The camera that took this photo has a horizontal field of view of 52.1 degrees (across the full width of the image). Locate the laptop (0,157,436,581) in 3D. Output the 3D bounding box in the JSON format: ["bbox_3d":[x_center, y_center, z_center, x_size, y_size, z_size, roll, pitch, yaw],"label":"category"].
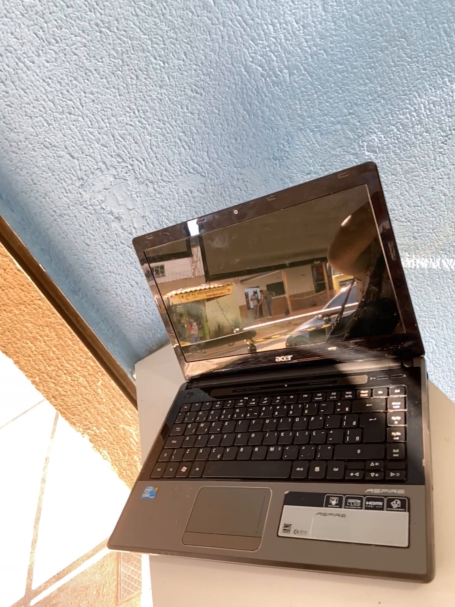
[{"bbox_3d":[0.012,0.058,0.500,0.337,0.207,0.319,-12,33,29],"label":"laptop"}]
